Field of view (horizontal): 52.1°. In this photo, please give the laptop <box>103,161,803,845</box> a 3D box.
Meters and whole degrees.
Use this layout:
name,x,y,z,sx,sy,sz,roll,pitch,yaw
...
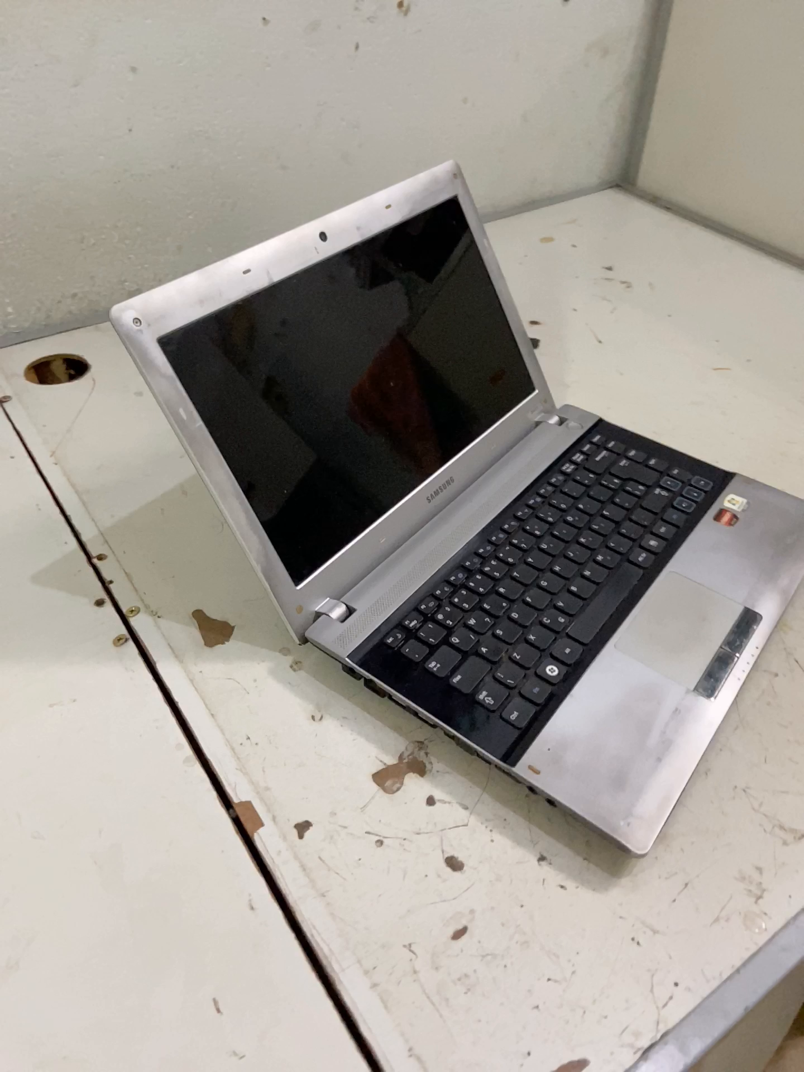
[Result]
name,x,y,z,sx,sy,sz,roll,pitch,yaw
laptop,0.081,-0.074,0.544,0.367,0.180,0.343,27,47,27
